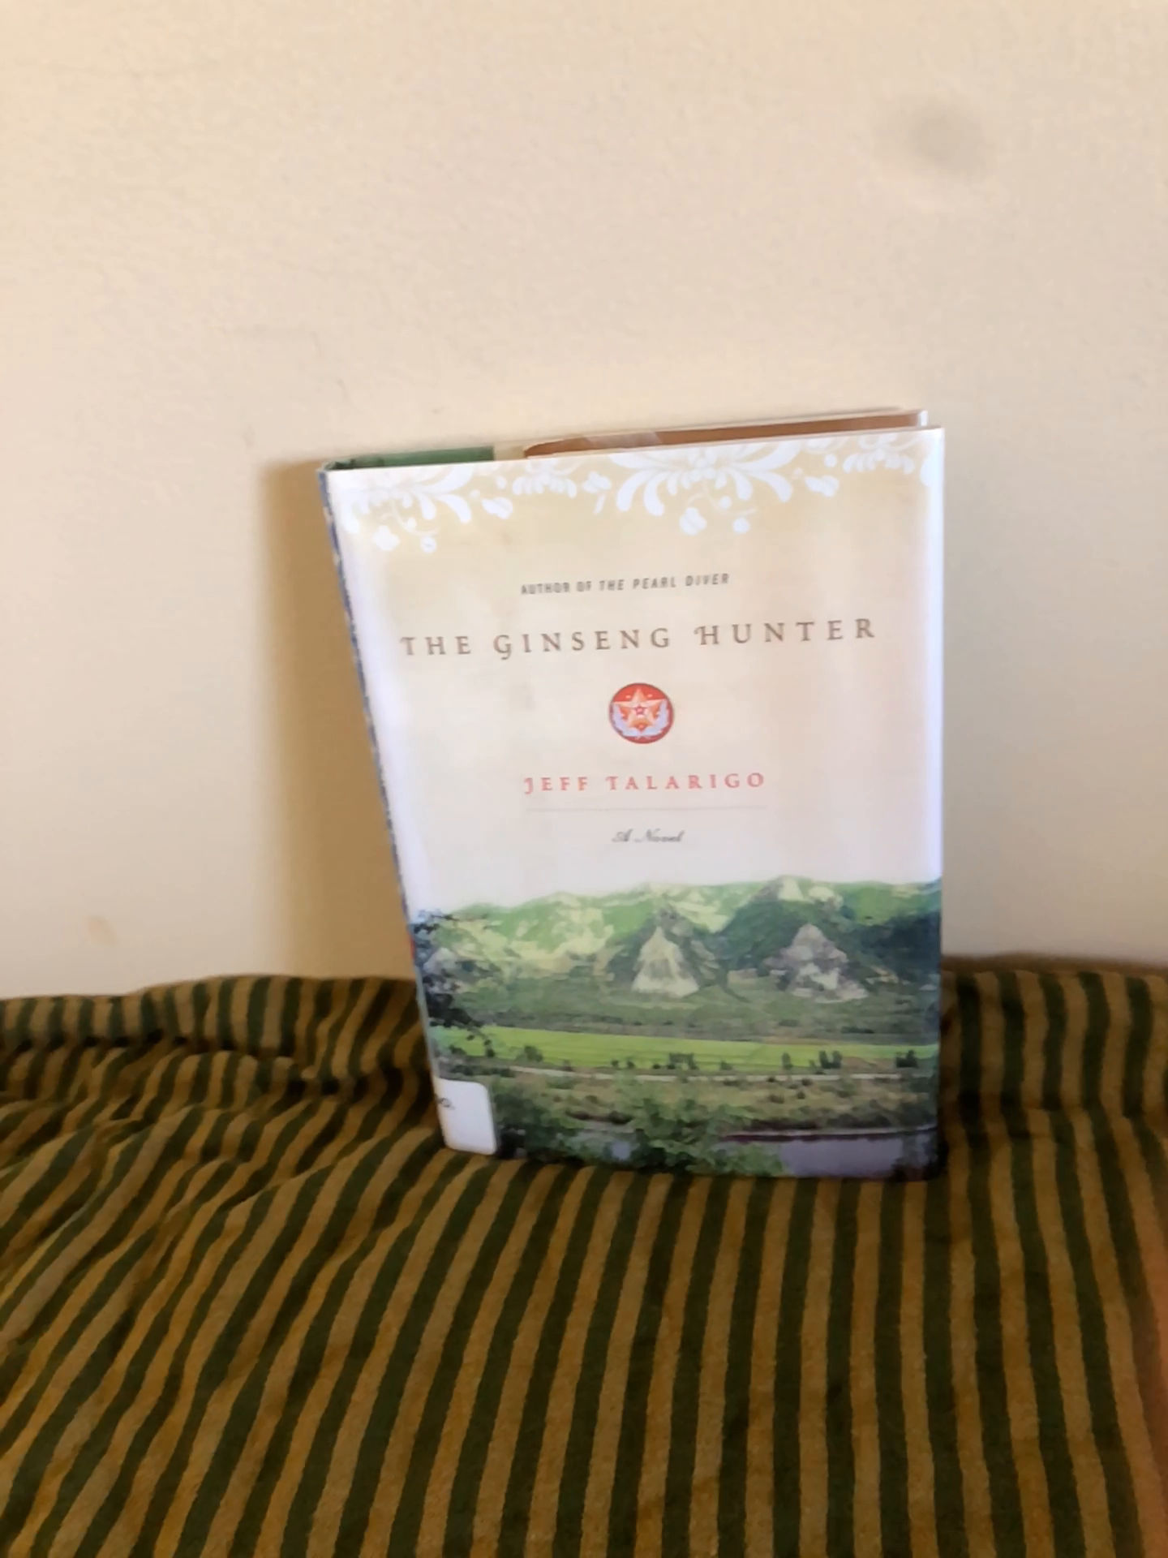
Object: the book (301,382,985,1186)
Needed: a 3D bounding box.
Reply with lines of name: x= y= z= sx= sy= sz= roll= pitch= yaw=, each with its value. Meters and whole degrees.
book: x=0.019 y=0.013 z=0.320 sx=0.137 sy=0.203 sz=0.029 roll=-1 pitch=29 yaw=8
